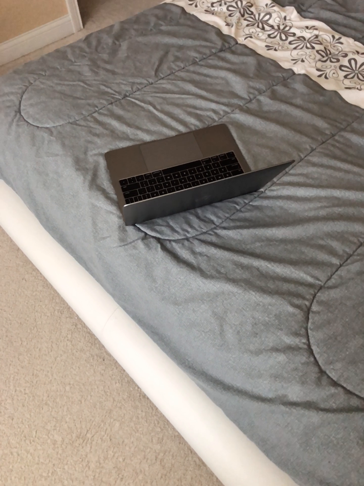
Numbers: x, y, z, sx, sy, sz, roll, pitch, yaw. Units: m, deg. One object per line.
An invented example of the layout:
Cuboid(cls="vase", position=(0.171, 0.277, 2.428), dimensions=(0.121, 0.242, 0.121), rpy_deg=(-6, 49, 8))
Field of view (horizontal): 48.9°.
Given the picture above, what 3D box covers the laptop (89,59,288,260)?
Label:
Cuboid(cls="laptop", position=(0.002, -0.167, 0.771), dimensions=(0.279, 0.159, 0.282), rpy_deg=(-16, 58, -8))
